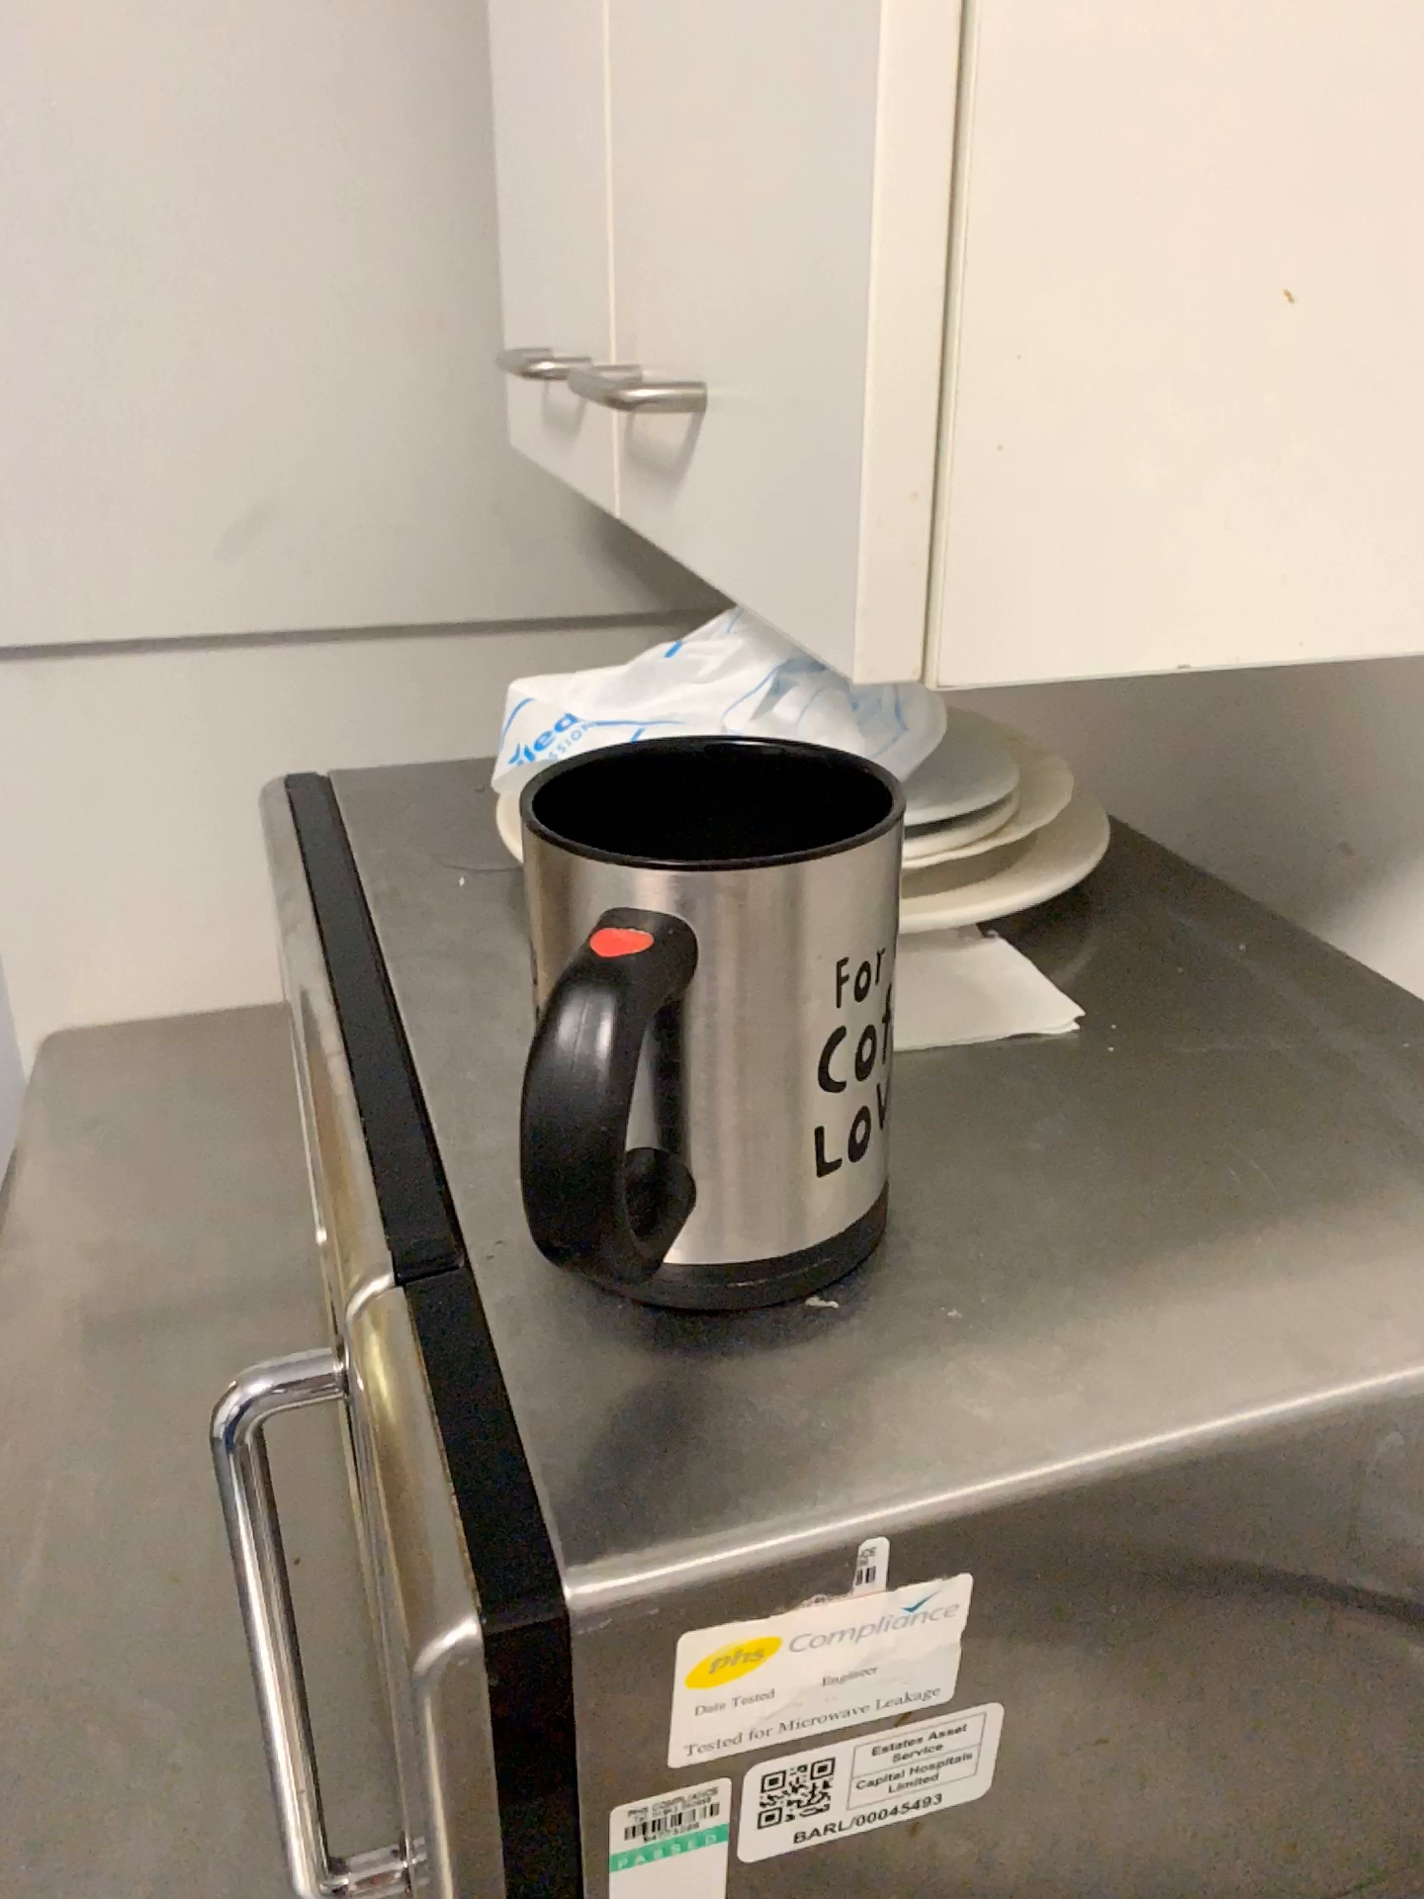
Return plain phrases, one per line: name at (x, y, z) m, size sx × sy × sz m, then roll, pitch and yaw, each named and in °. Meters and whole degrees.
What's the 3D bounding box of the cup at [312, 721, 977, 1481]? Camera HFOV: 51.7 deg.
cup at (-0.006, 0.021, 0.340) m, size 0.096 × 0.108 × 0.134 m, roll 10°, pitch 25°, yaw 21°
